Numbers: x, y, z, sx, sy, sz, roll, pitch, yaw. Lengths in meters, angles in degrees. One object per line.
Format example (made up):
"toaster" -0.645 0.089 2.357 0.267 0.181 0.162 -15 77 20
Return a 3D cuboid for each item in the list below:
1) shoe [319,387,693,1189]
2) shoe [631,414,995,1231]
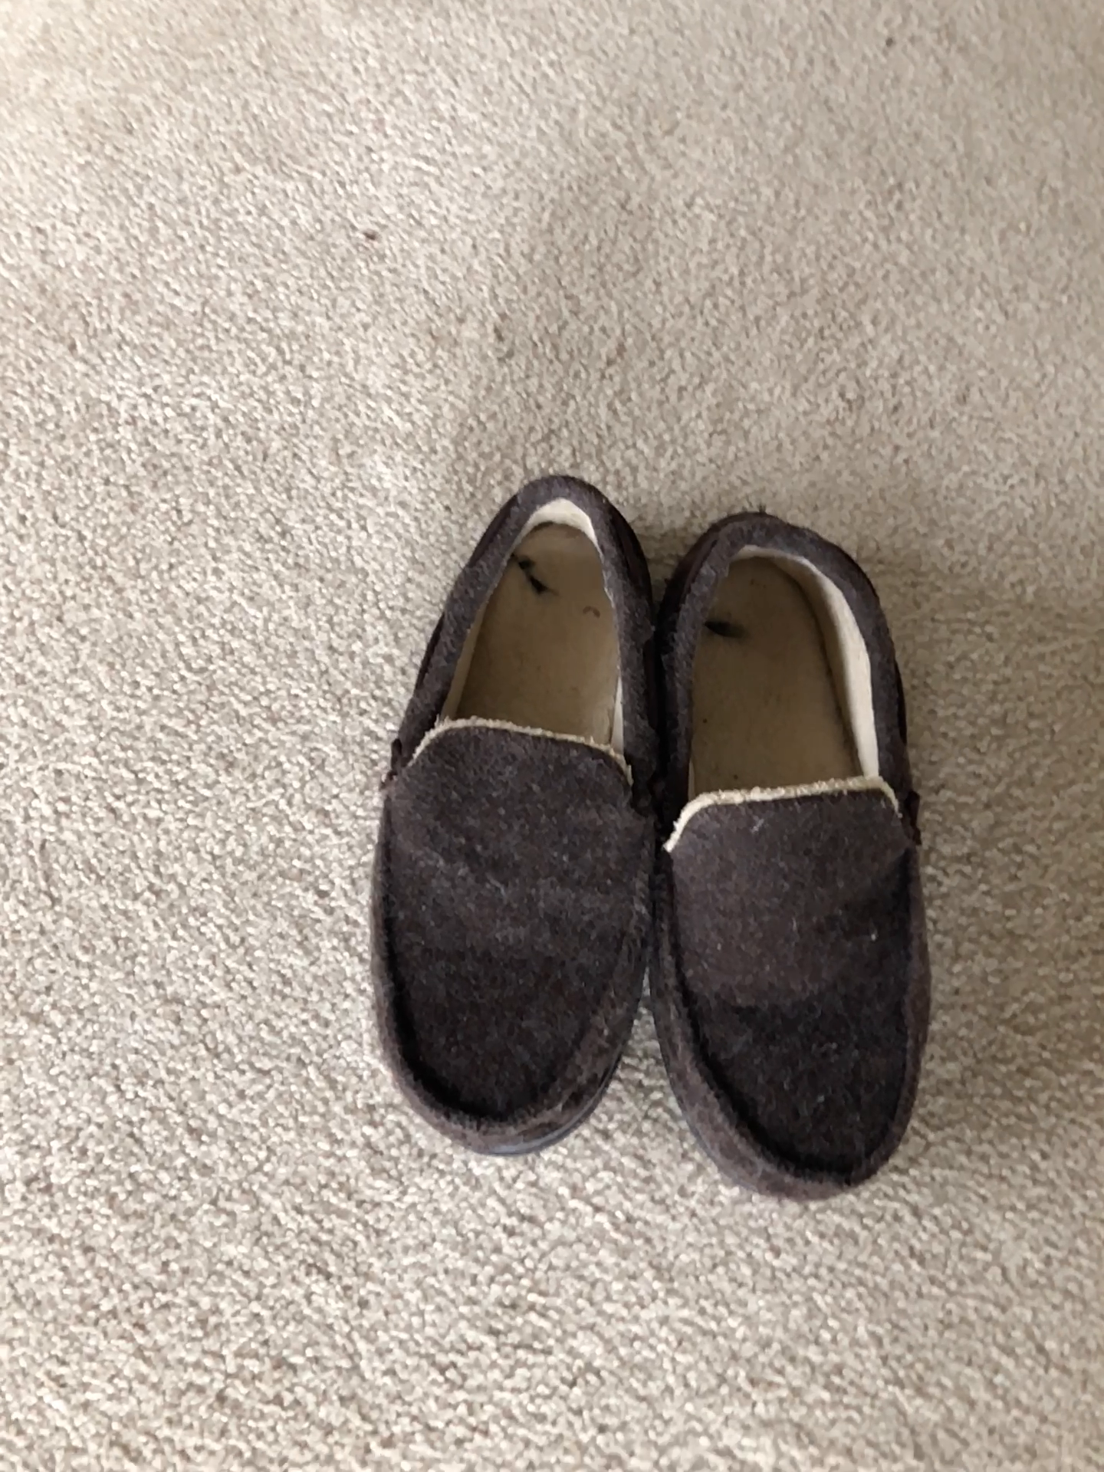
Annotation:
"shoe" -0.010 0.018 0.516 0.120 0.096 0.317 4 72 2
"shoe" 0.097 0.031 0.506 0.118 0.096 0.316 2 72 1
